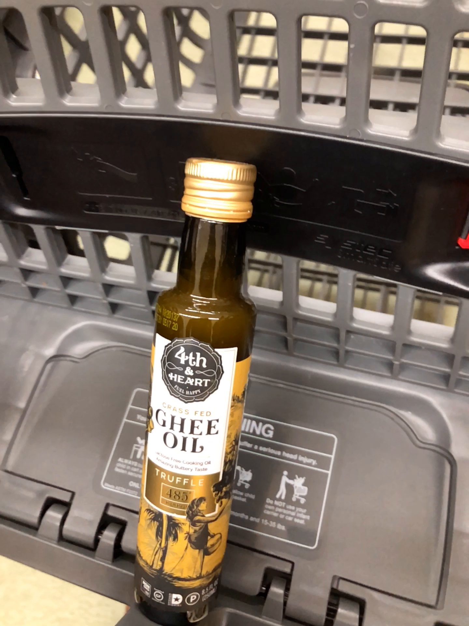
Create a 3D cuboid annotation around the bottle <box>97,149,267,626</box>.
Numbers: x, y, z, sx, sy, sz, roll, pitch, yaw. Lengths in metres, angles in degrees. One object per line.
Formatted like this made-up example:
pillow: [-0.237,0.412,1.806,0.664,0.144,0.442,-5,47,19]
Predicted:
bottle: [-0.030,0.051,0.266,0.054,0.050,0.250,11,108,15]
